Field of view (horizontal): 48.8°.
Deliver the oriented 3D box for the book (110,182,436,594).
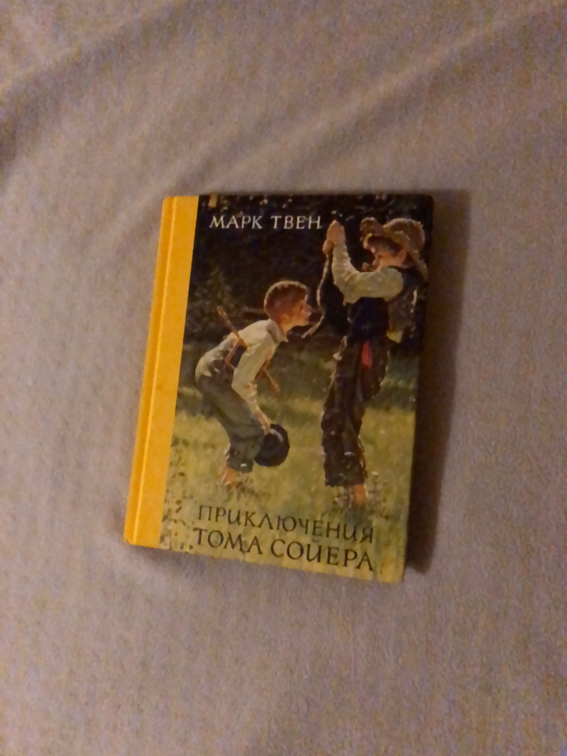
[{"bbox_3d":[-0.005,-0.003,0.374,0.171,0.030,0.224,4,84,15],"label":"book"}]
